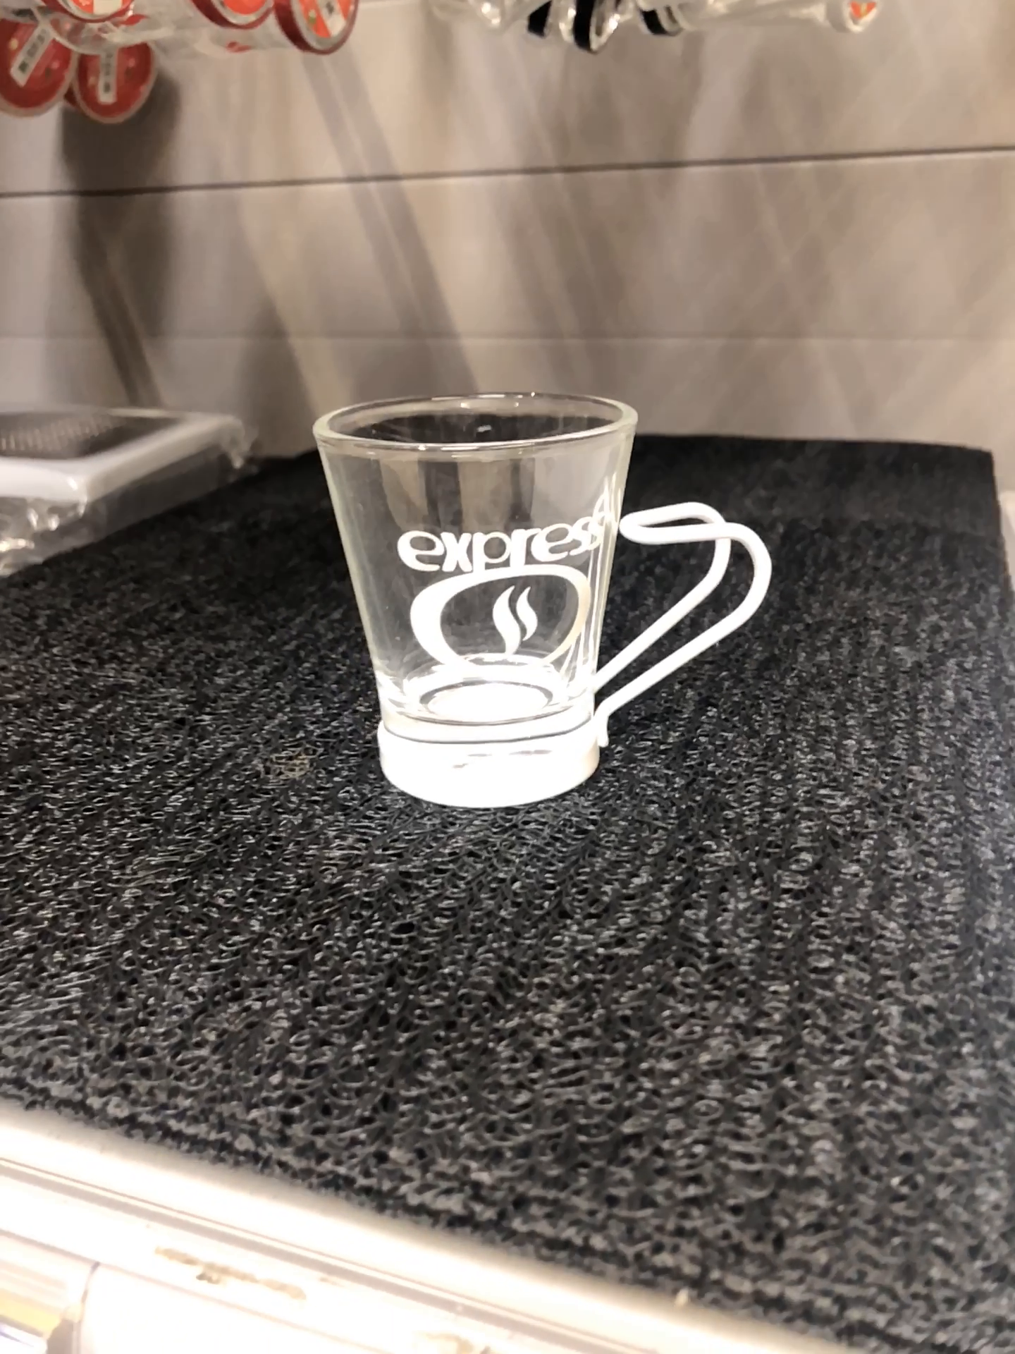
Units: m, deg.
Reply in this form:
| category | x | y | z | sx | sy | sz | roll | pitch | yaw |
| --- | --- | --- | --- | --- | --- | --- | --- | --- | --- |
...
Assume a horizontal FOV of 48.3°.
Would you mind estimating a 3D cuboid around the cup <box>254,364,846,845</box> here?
| category | x | y | z | sx | sy | sz | roll | pitch | yaw |
| --- | --- | --- | --- | --- | --- | --- | --- | --- | --- |
| cup | 0.006 | -0.020 | 0.222 | 0.093 | 0.063 | 0.059 | -12 | 28 | -22 |
